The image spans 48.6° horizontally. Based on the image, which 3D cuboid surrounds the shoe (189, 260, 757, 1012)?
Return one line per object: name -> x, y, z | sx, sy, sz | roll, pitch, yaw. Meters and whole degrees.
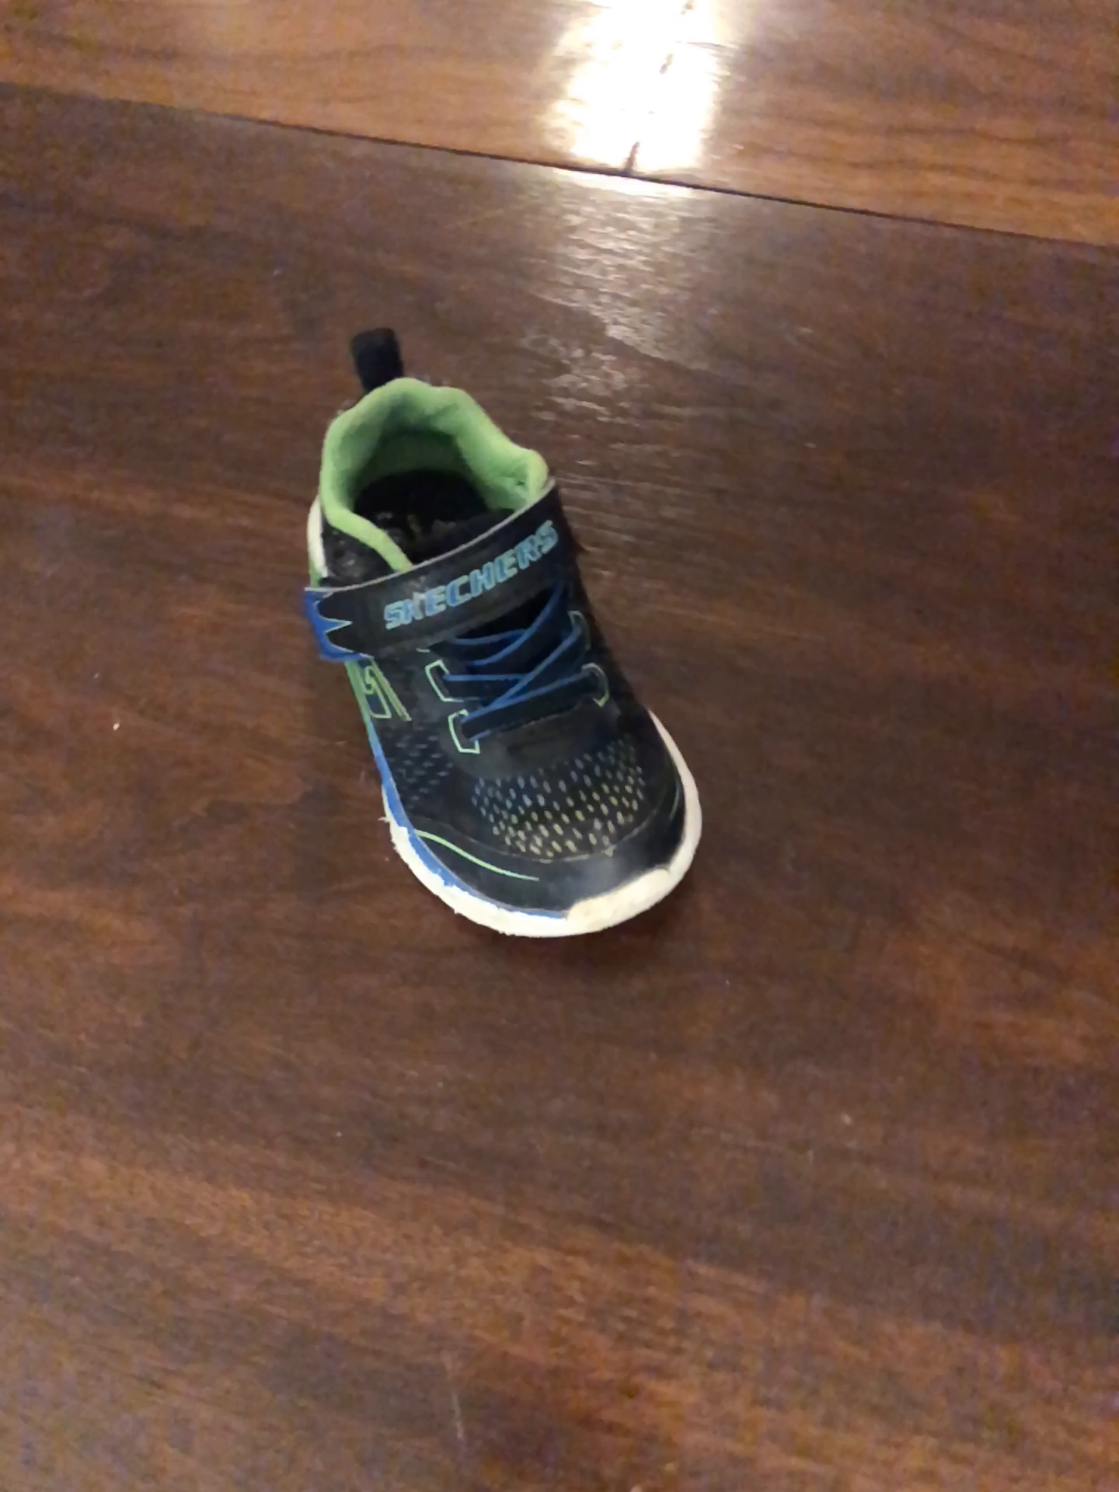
shoe -> -0.026, -0.032, 0.333 | 0.080, 0.080, 0.170 | -22, 64, -8
